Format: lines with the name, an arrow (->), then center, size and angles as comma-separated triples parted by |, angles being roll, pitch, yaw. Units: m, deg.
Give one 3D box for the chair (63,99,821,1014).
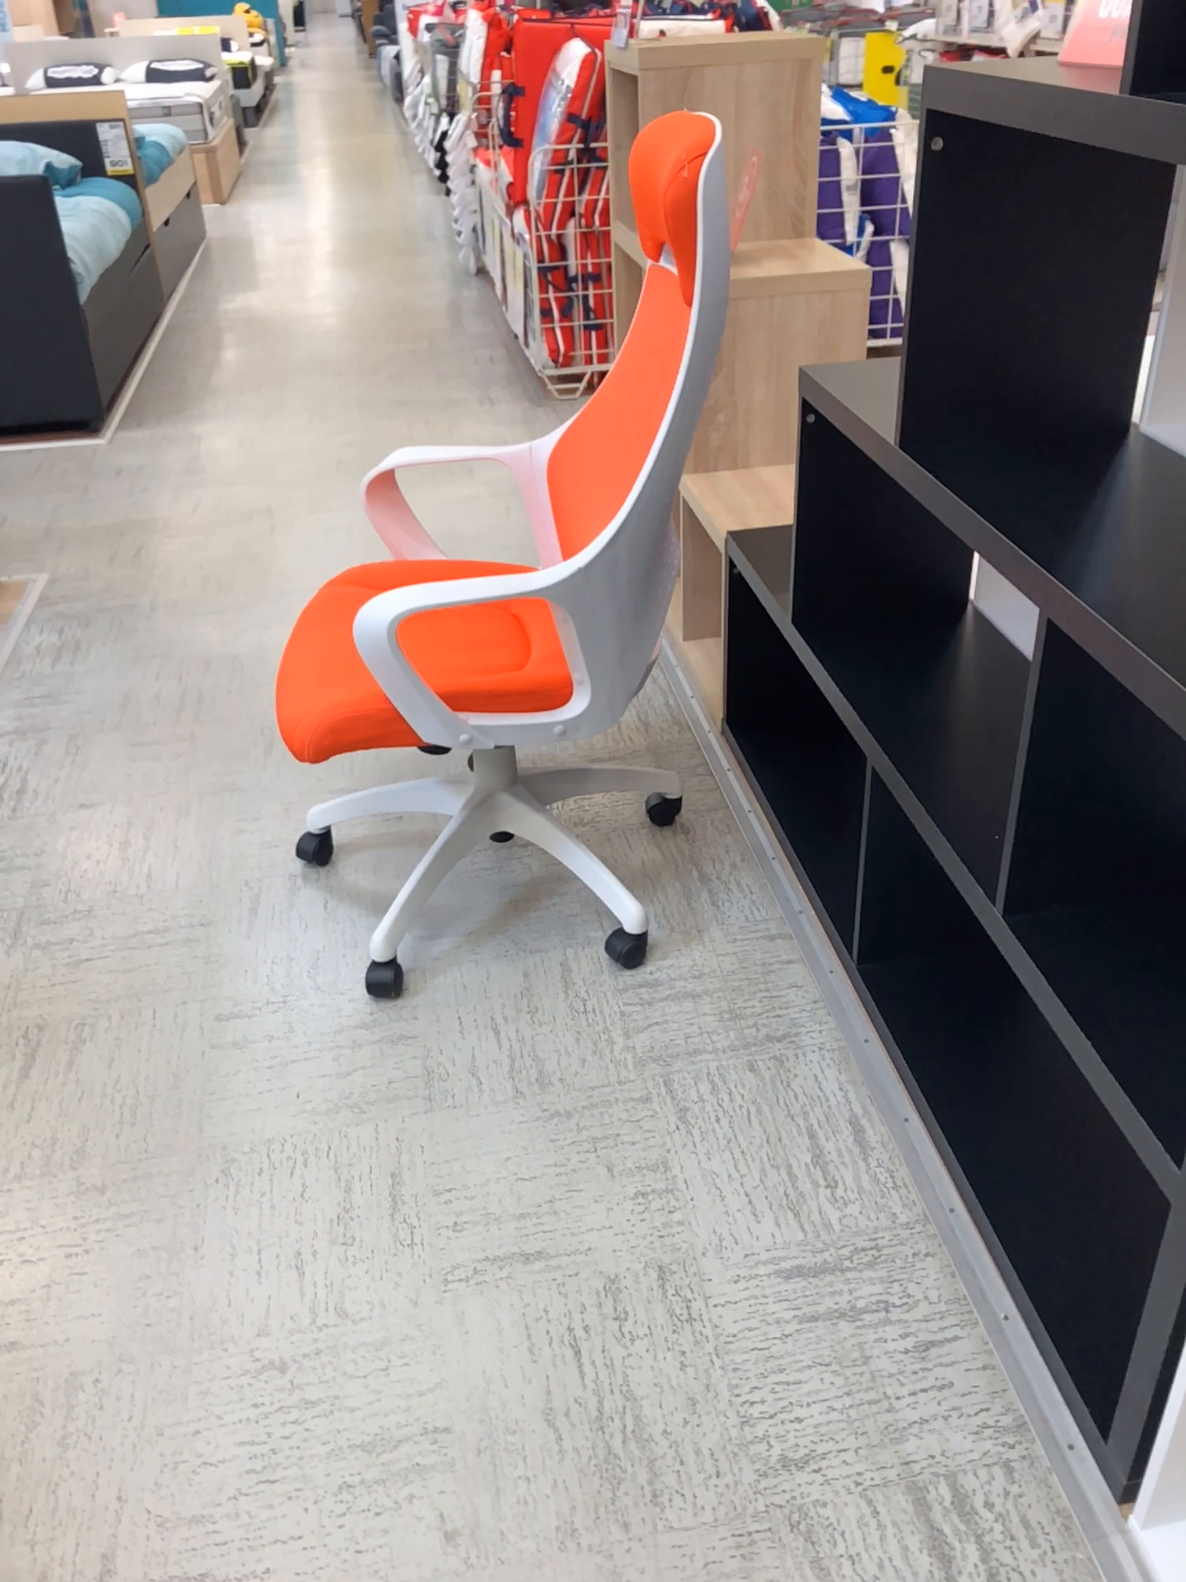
chair -> -0.153, -0.350, 1.848 | 0.750, 1.054, 0.684 | -5, 31, -4
